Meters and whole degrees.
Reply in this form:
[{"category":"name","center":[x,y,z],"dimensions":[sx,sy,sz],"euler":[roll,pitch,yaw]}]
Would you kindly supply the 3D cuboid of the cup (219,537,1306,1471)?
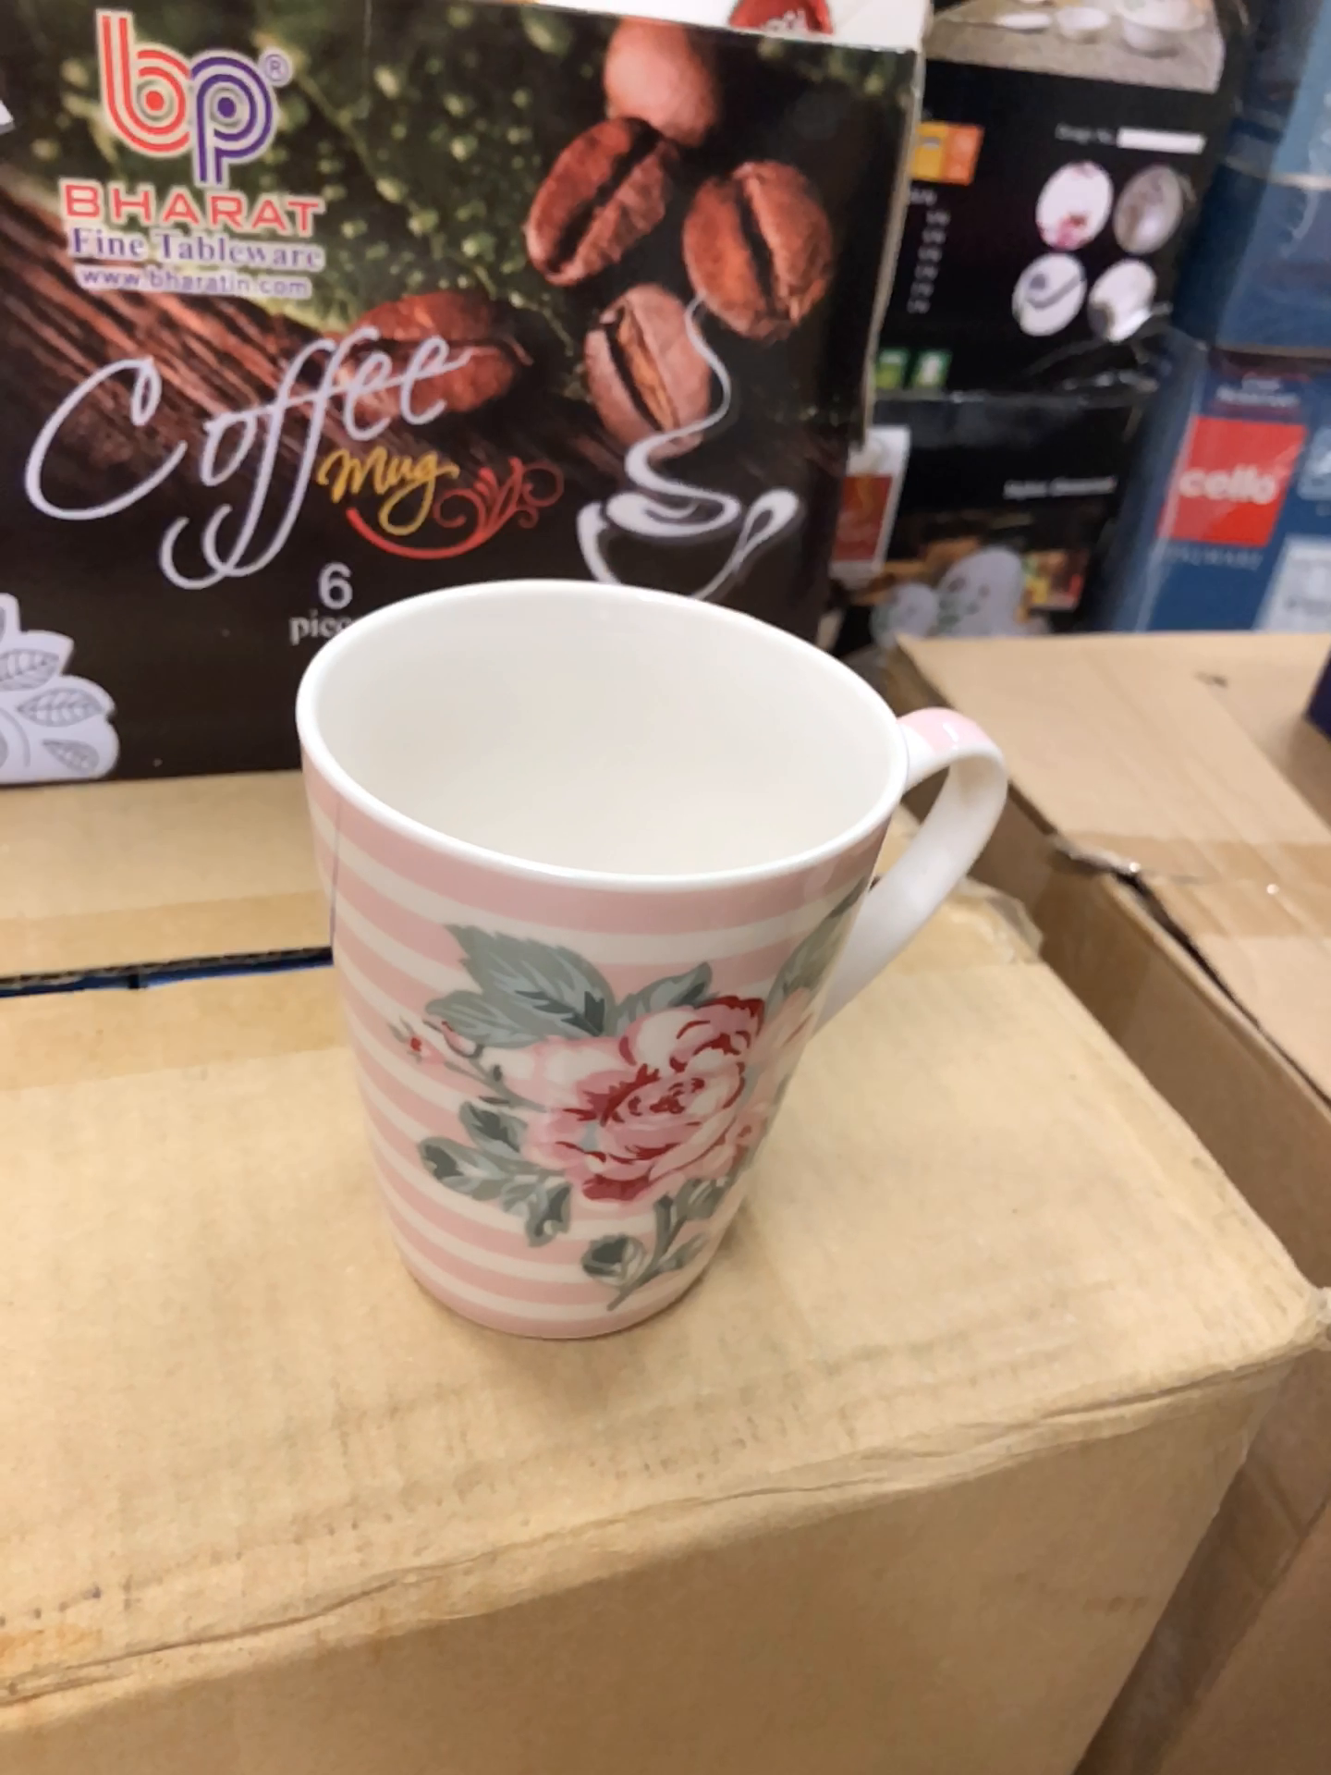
[{"category":"cup","center":[0.007,0.008,0.238],"dimensions":[0.130,0.089,0.090],"euler":[-10,38,-25]}]
